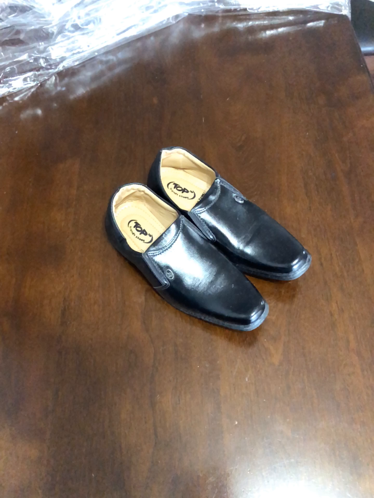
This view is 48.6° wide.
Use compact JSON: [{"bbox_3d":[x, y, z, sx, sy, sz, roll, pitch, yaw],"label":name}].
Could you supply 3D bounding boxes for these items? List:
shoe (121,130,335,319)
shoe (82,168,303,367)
[{"bbox_3d":[0.042,-0.033,0.499,0.230,0.090,0.090,36,70,22],"label":"shoe"},{"bbox_3d":[0.001,0.016,0.472,0.230,0.080,0.090,36,70,22],"label":"shoe"}]
